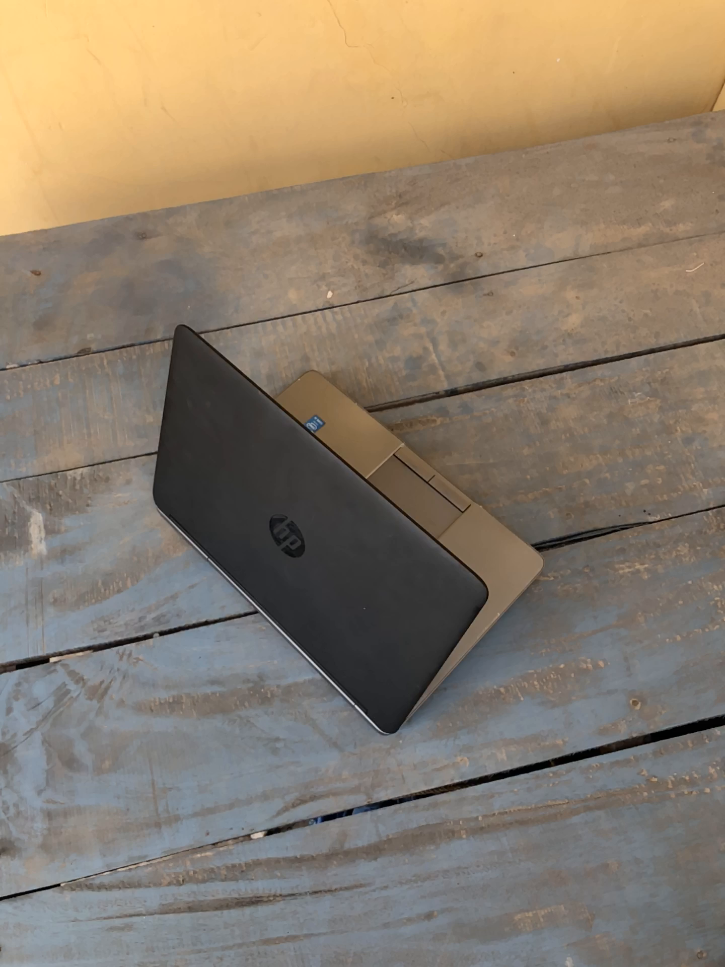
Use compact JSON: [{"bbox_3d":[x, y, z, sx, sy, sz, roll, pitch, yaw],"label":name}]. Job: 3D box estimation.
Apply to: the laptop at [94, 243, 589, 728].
[{"bbox_3d":[-0.020,0.004,0.690,0.317,0.196,0.210,41,71,19],"label":"laptop"}]
